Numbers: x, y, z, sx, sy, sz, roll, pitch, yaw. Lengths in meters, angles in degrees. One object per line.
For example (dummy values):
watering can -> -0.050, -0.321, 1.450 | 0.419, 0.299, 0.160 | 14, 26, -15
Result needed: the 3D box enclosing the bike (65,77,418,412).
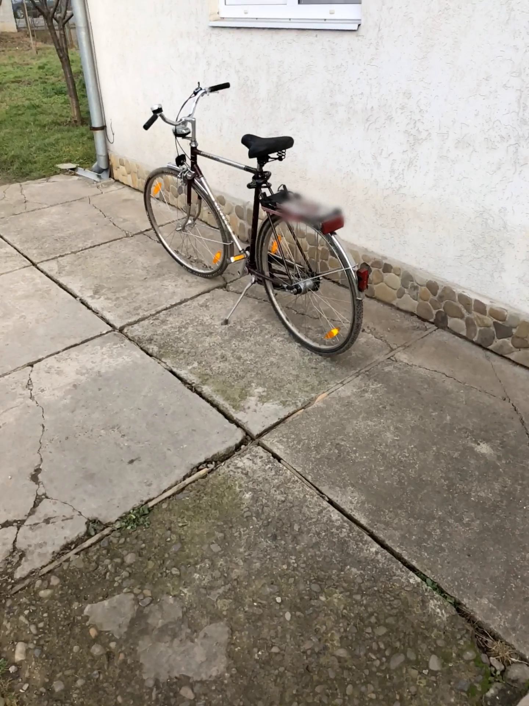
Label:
bike -> -0.217, -0.652, 2.791 | 0.598, 1.054, 1.716 | -24, 38, -32
